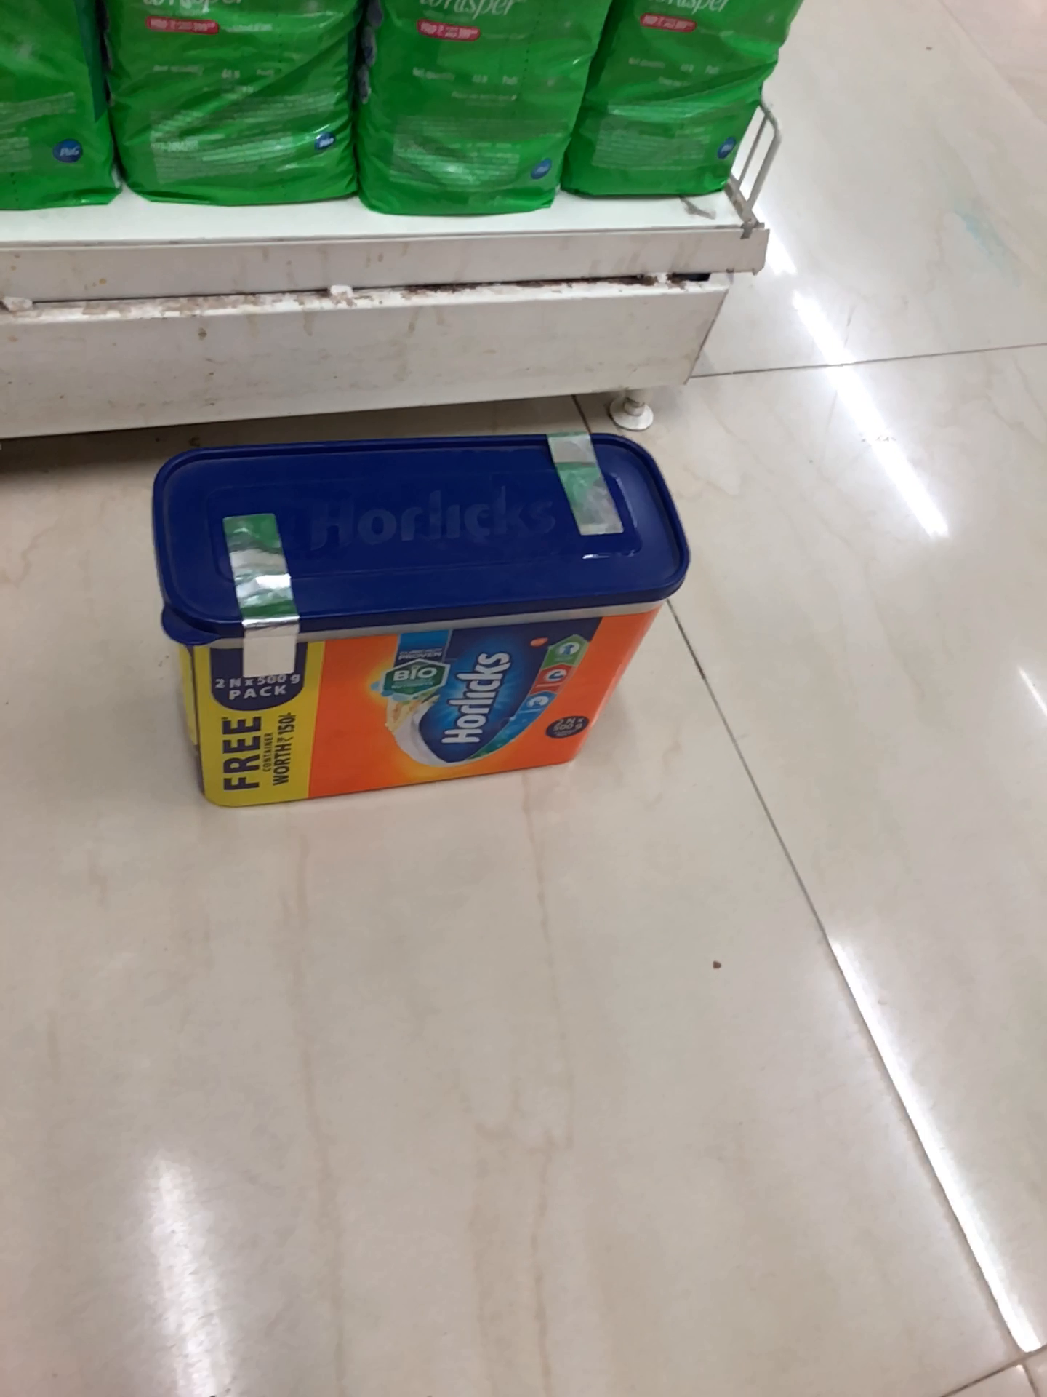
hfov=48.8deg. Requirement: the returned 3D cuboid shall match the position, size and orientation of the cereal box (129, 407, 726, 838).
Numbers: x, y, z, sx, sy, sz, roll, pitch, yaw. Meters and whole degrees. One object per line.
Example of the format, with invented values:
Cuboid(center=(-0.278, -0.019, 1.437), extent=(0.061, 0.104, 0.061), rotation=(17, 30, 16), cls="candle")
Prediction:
Cuboid(center=(-0.051, -0.033, 0.521), extent=(0.221, 0.159, 0.100), rotation=(-7, 60, -18), cls="cereal box")
